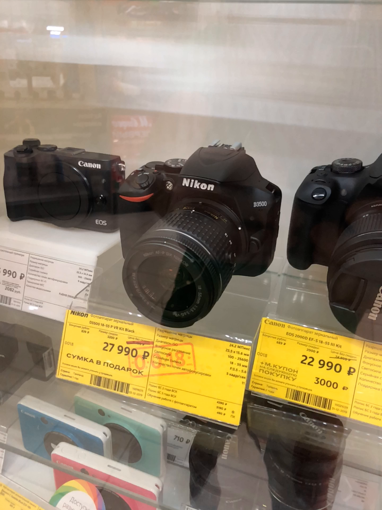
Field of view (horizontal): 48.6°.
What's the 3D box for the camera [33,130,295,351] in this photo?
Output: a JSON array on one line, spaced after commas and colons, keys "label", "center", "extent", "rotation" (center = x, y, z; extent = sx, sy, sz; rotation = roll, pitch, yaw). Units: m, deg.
[{"label": "camera", "center": [-0.009, -0.023, 0.291], "extent": [0.130, 0.092, 0.121], "rotation": [11, 27, 18]}]
